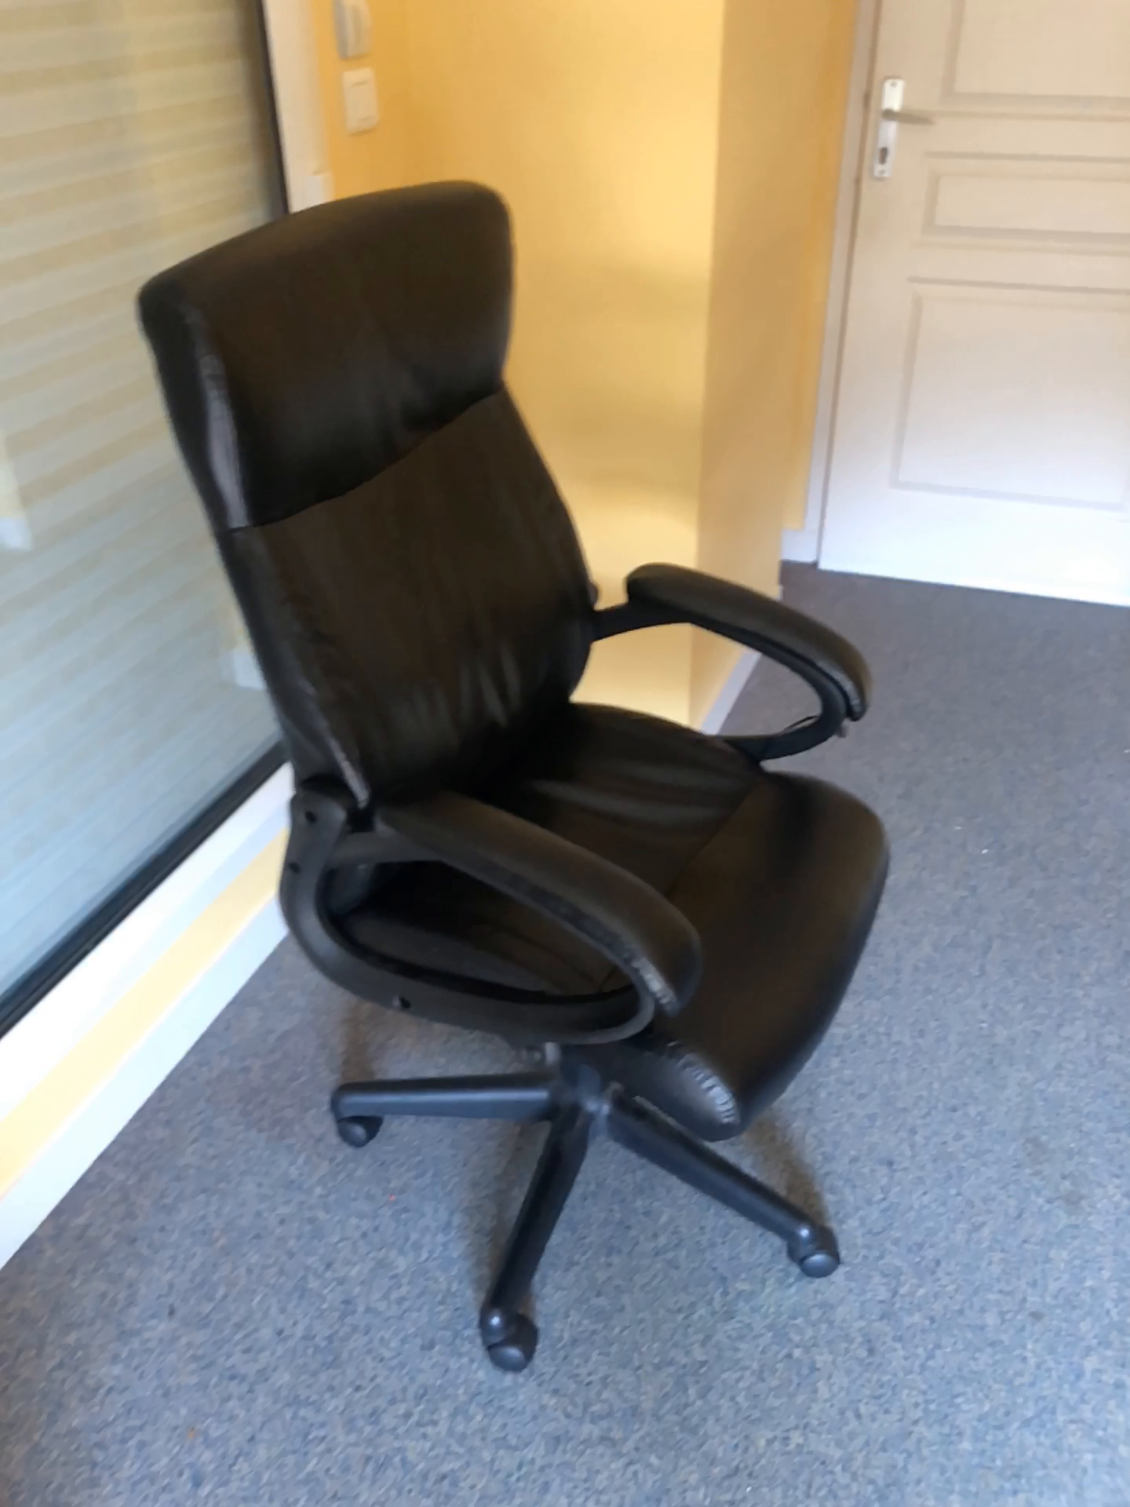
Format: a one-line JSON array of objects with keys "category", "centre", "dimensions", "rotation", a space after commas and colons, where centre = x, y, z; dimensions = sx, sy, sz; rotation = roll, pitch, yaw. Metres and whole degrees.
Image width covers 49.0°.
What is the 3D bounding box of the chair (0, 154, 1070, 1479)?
[{"category": "chair", "centre": [0.005, 0.027, 1.346], "dimensions": [0.749, 1.113, 0.665], "rotation": [13, 36, 20]}]
